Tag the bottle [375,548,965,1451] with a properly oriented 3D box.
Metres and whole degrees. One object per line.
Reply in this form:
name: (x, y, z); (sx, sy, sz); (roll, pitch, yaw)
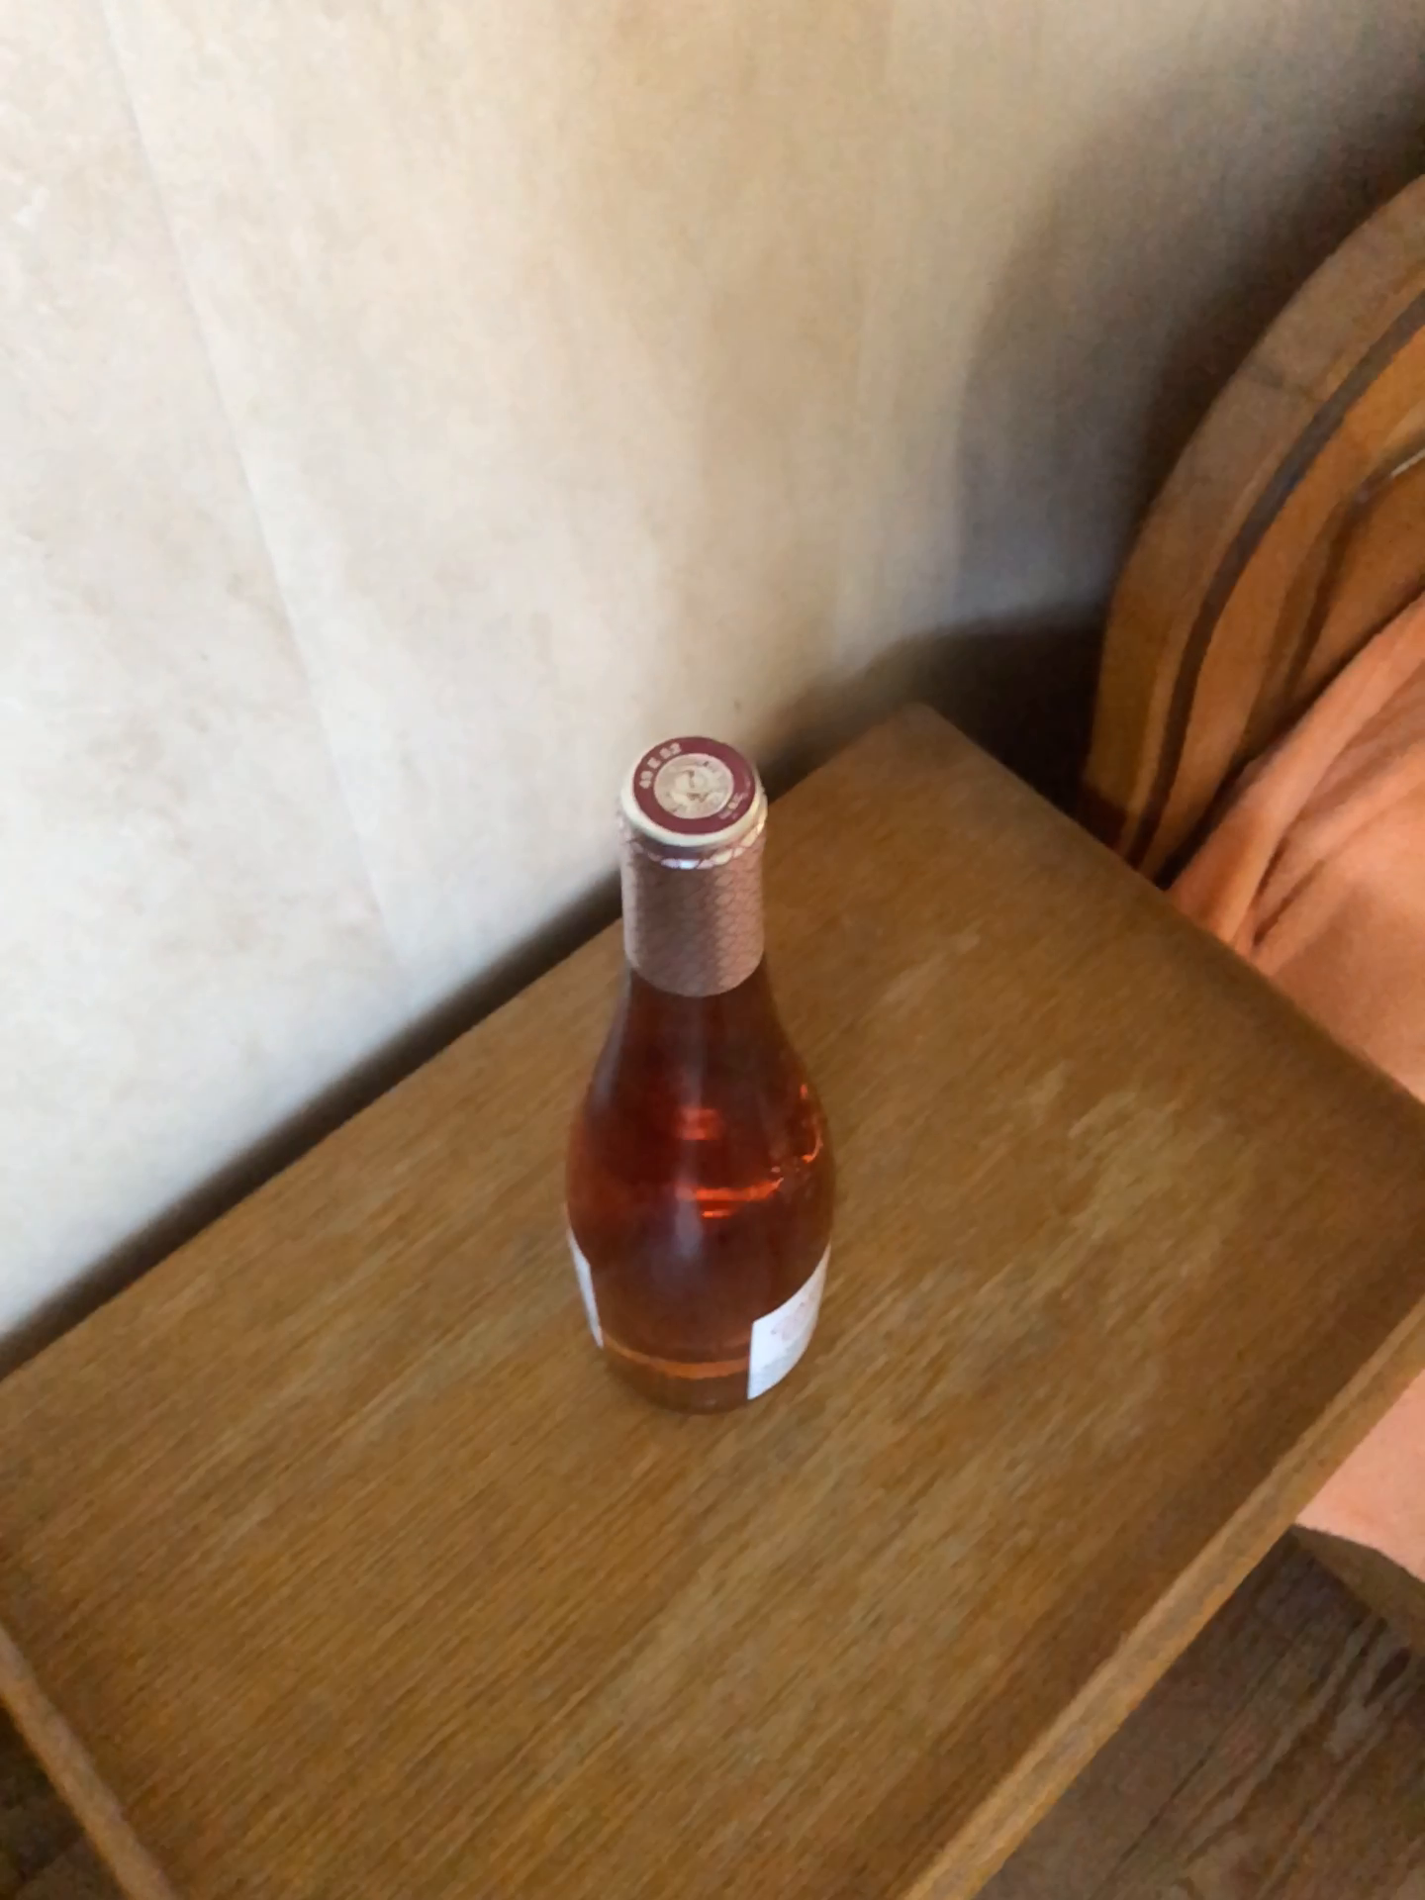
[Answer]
bottle: (-0.007, 0.041, 0.431); (0.090, 0.299, 0.080); (19, 59, 12)
